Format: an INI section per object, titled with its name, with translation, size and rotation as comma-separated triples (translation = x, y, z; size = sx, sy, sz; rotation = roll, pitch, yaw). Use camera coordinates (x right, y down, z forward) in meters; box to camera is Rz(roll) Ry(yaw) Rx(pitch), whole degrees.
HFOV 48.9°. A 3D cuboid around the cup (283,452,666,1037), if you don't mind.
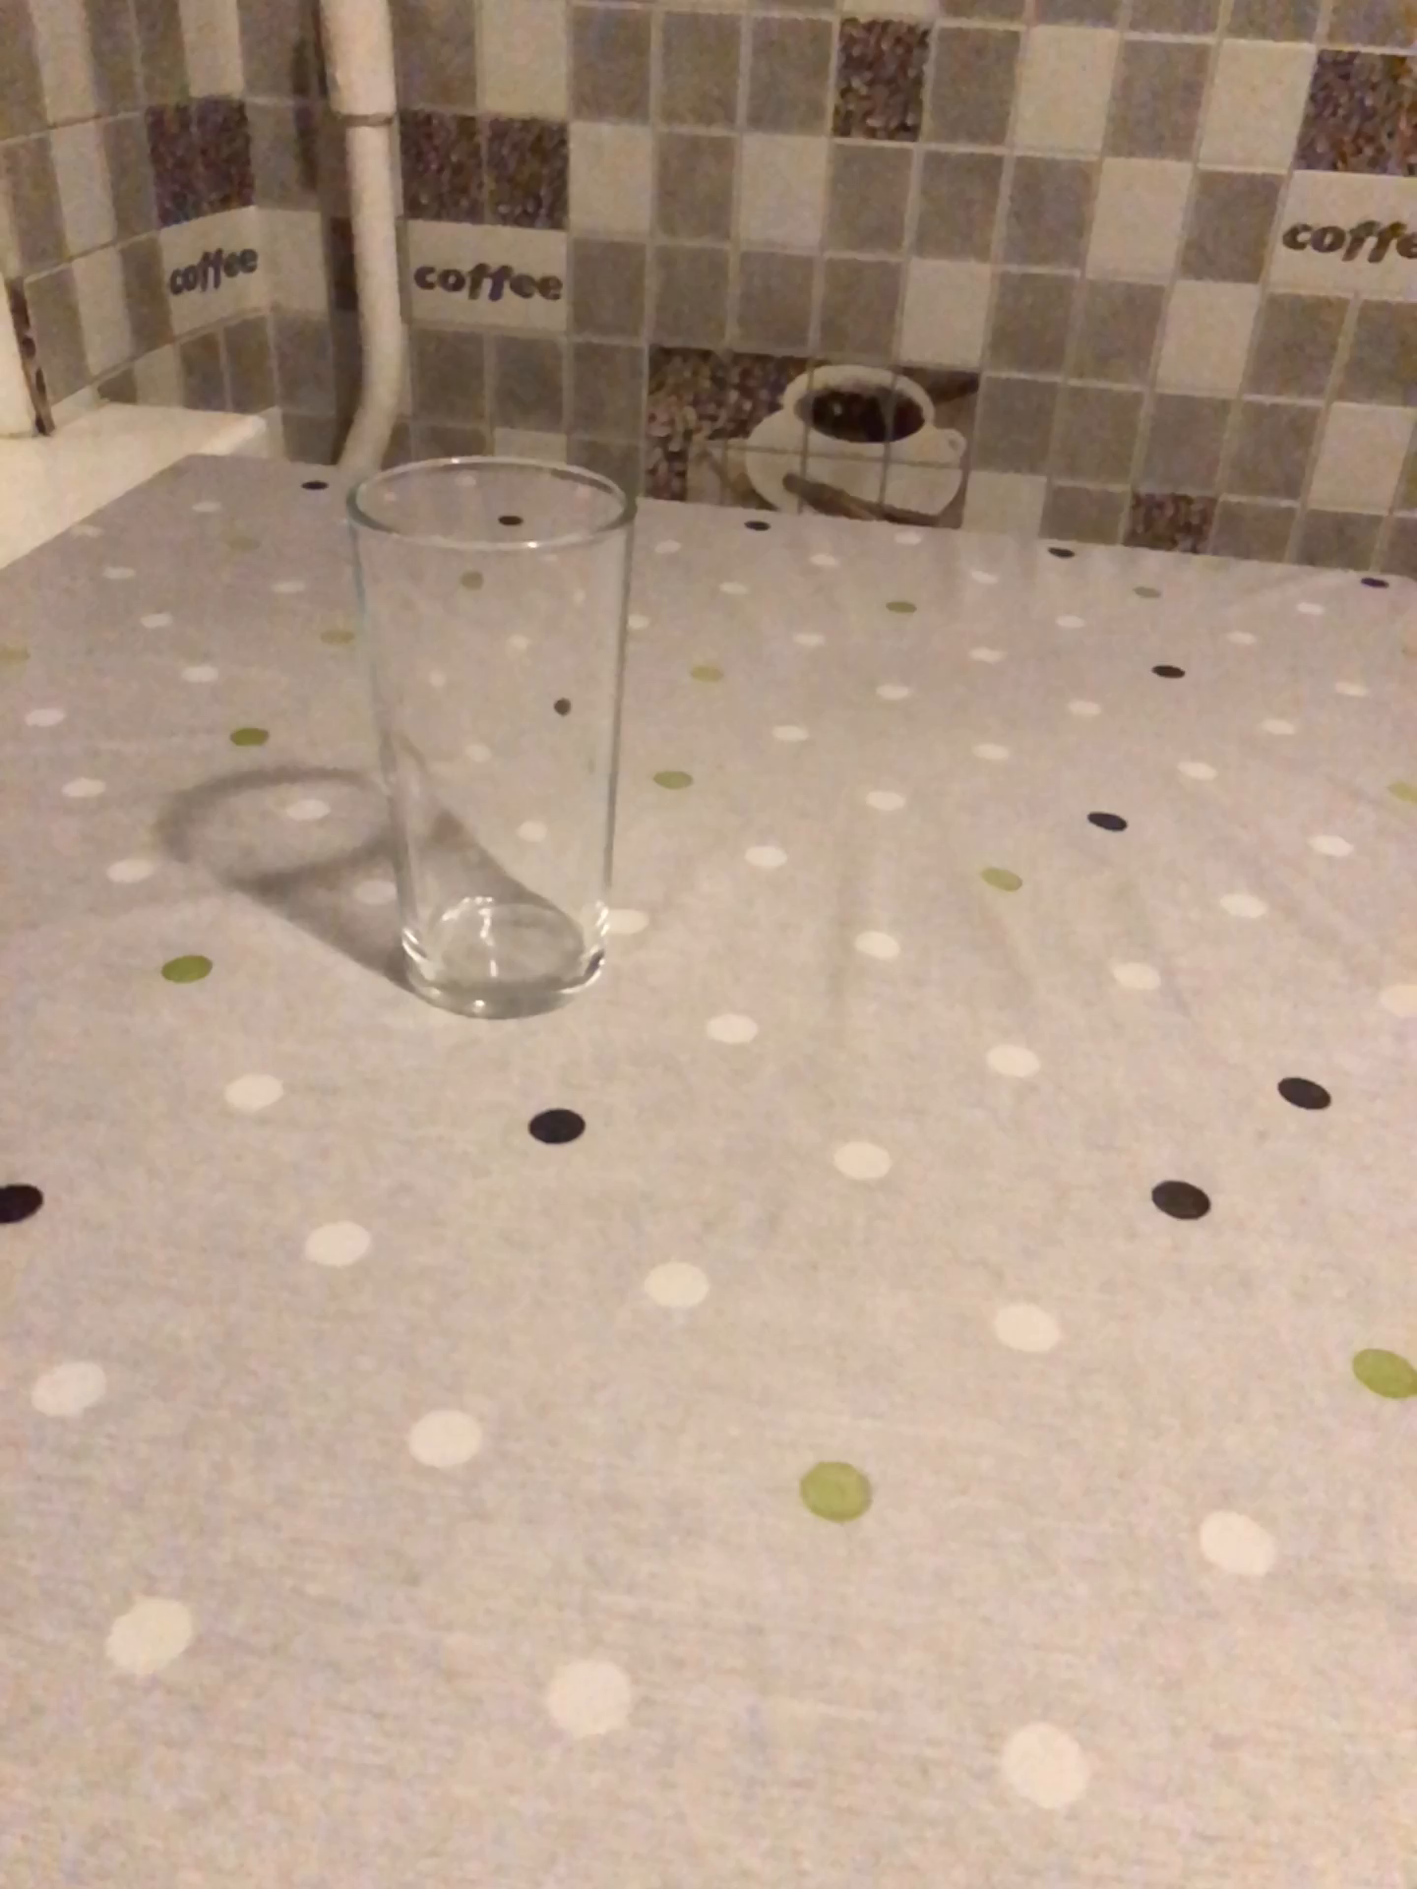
[cup]
translation = -0.052, -0.049, 0.380
size = 0.069, 0.117, 0.068
rotation = 2, 33, -1
